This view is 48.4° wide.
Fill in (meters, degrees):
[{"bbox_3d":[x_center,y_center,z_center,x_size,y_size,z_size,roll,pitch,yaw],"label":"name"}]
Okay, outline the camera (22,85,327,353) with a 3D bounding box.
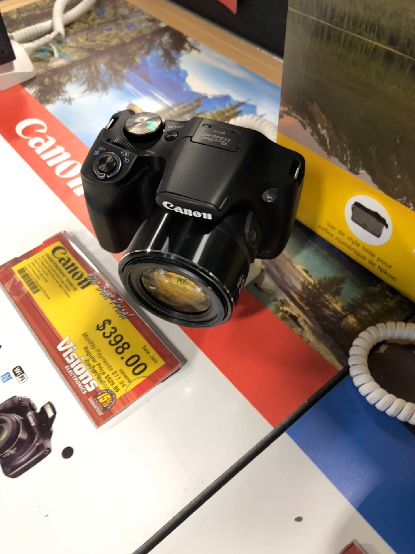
[{"bbox_3d":[-0.012,-0.035,0.254,0.120,0.080,0.090,18,54,16],"label":"camera"}]
